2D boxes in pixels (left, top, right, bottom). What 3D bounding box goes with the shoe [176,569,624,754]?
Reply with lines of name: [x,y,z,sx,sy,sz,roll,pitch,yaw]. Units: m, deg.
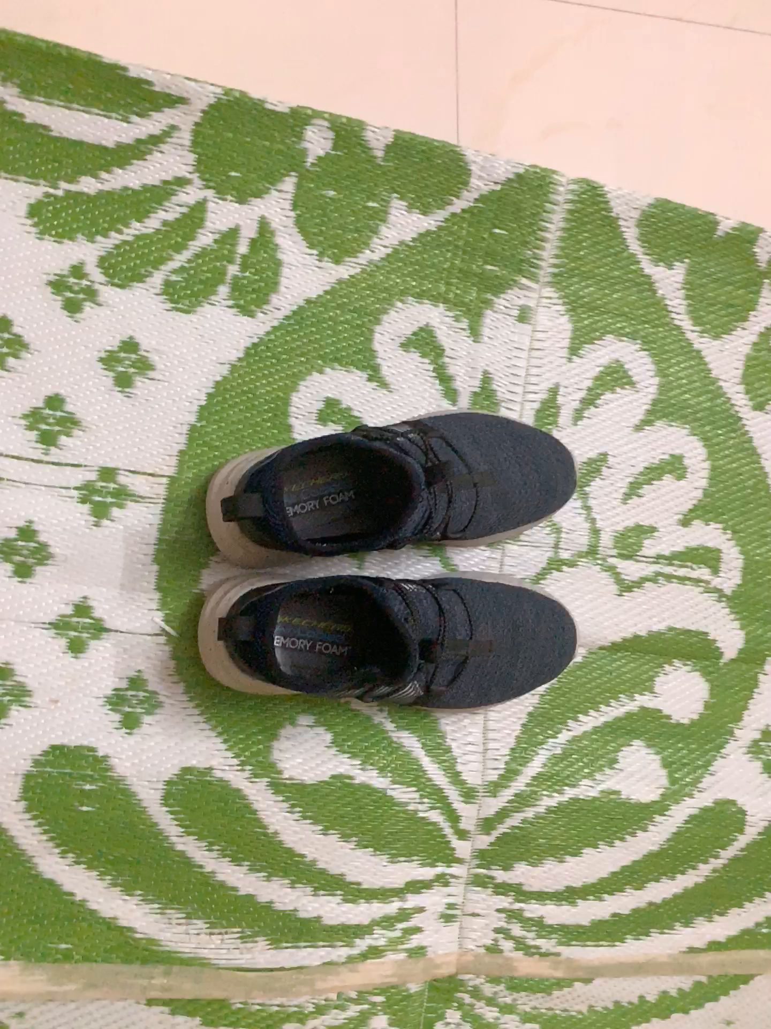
shoe: [0.009,0.096,0.564,0.300,0.100,0.110,2,87,-13]

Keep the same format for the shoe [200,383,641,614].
shoe: [0.021,-0.013,0.575,0.290,0.100,0.110,-10,89,-14]
